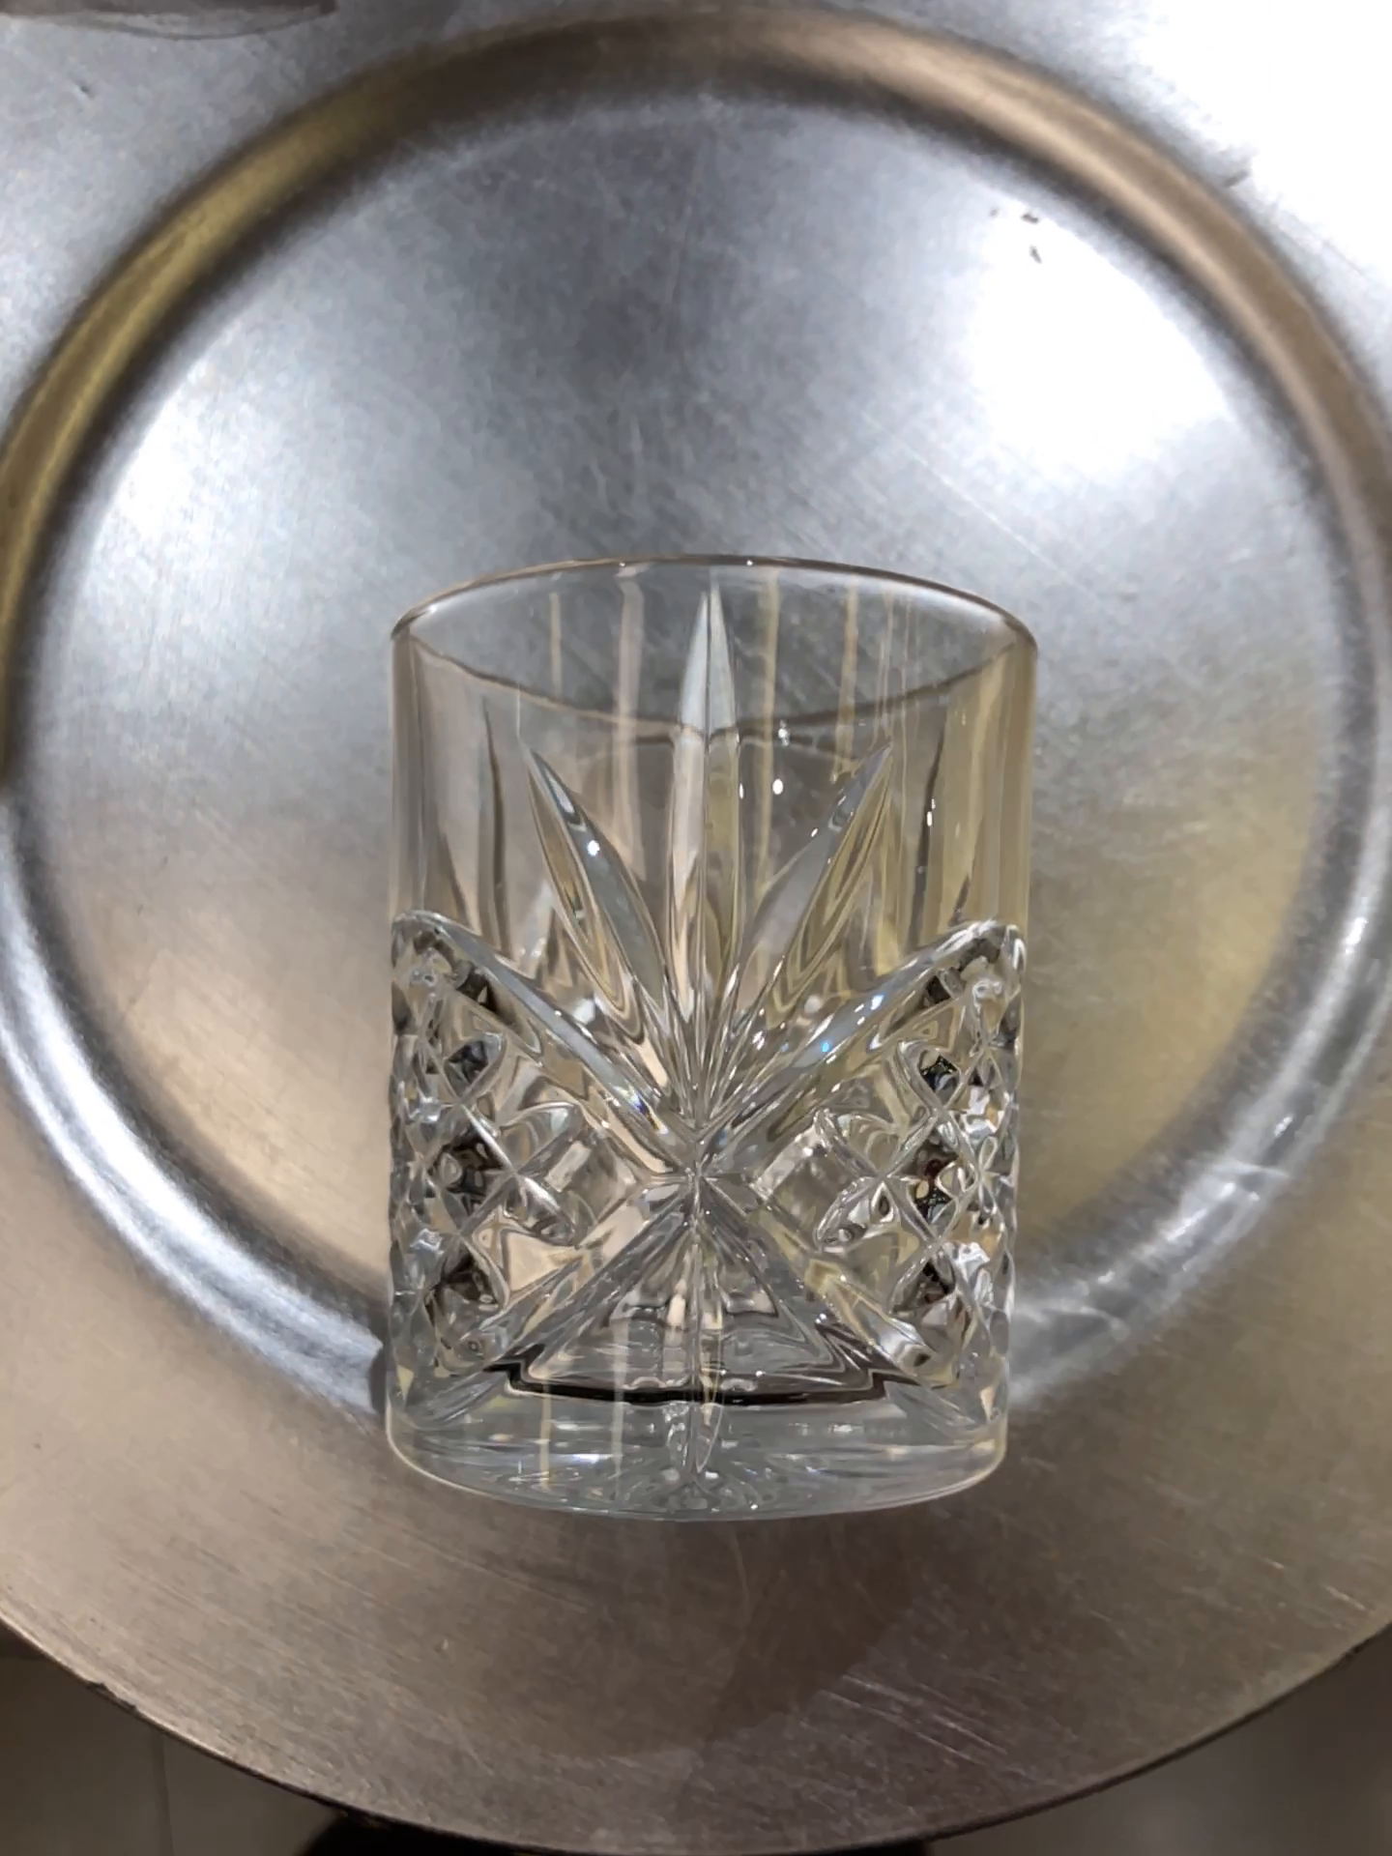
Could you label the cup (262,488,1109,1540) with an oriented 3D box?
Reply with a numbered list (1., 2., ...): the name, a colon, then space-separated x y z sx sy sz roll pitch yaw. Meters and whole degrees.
1. cup: 0.001 0.009 0.182 0.080 0.060 0.100 0 85 4
